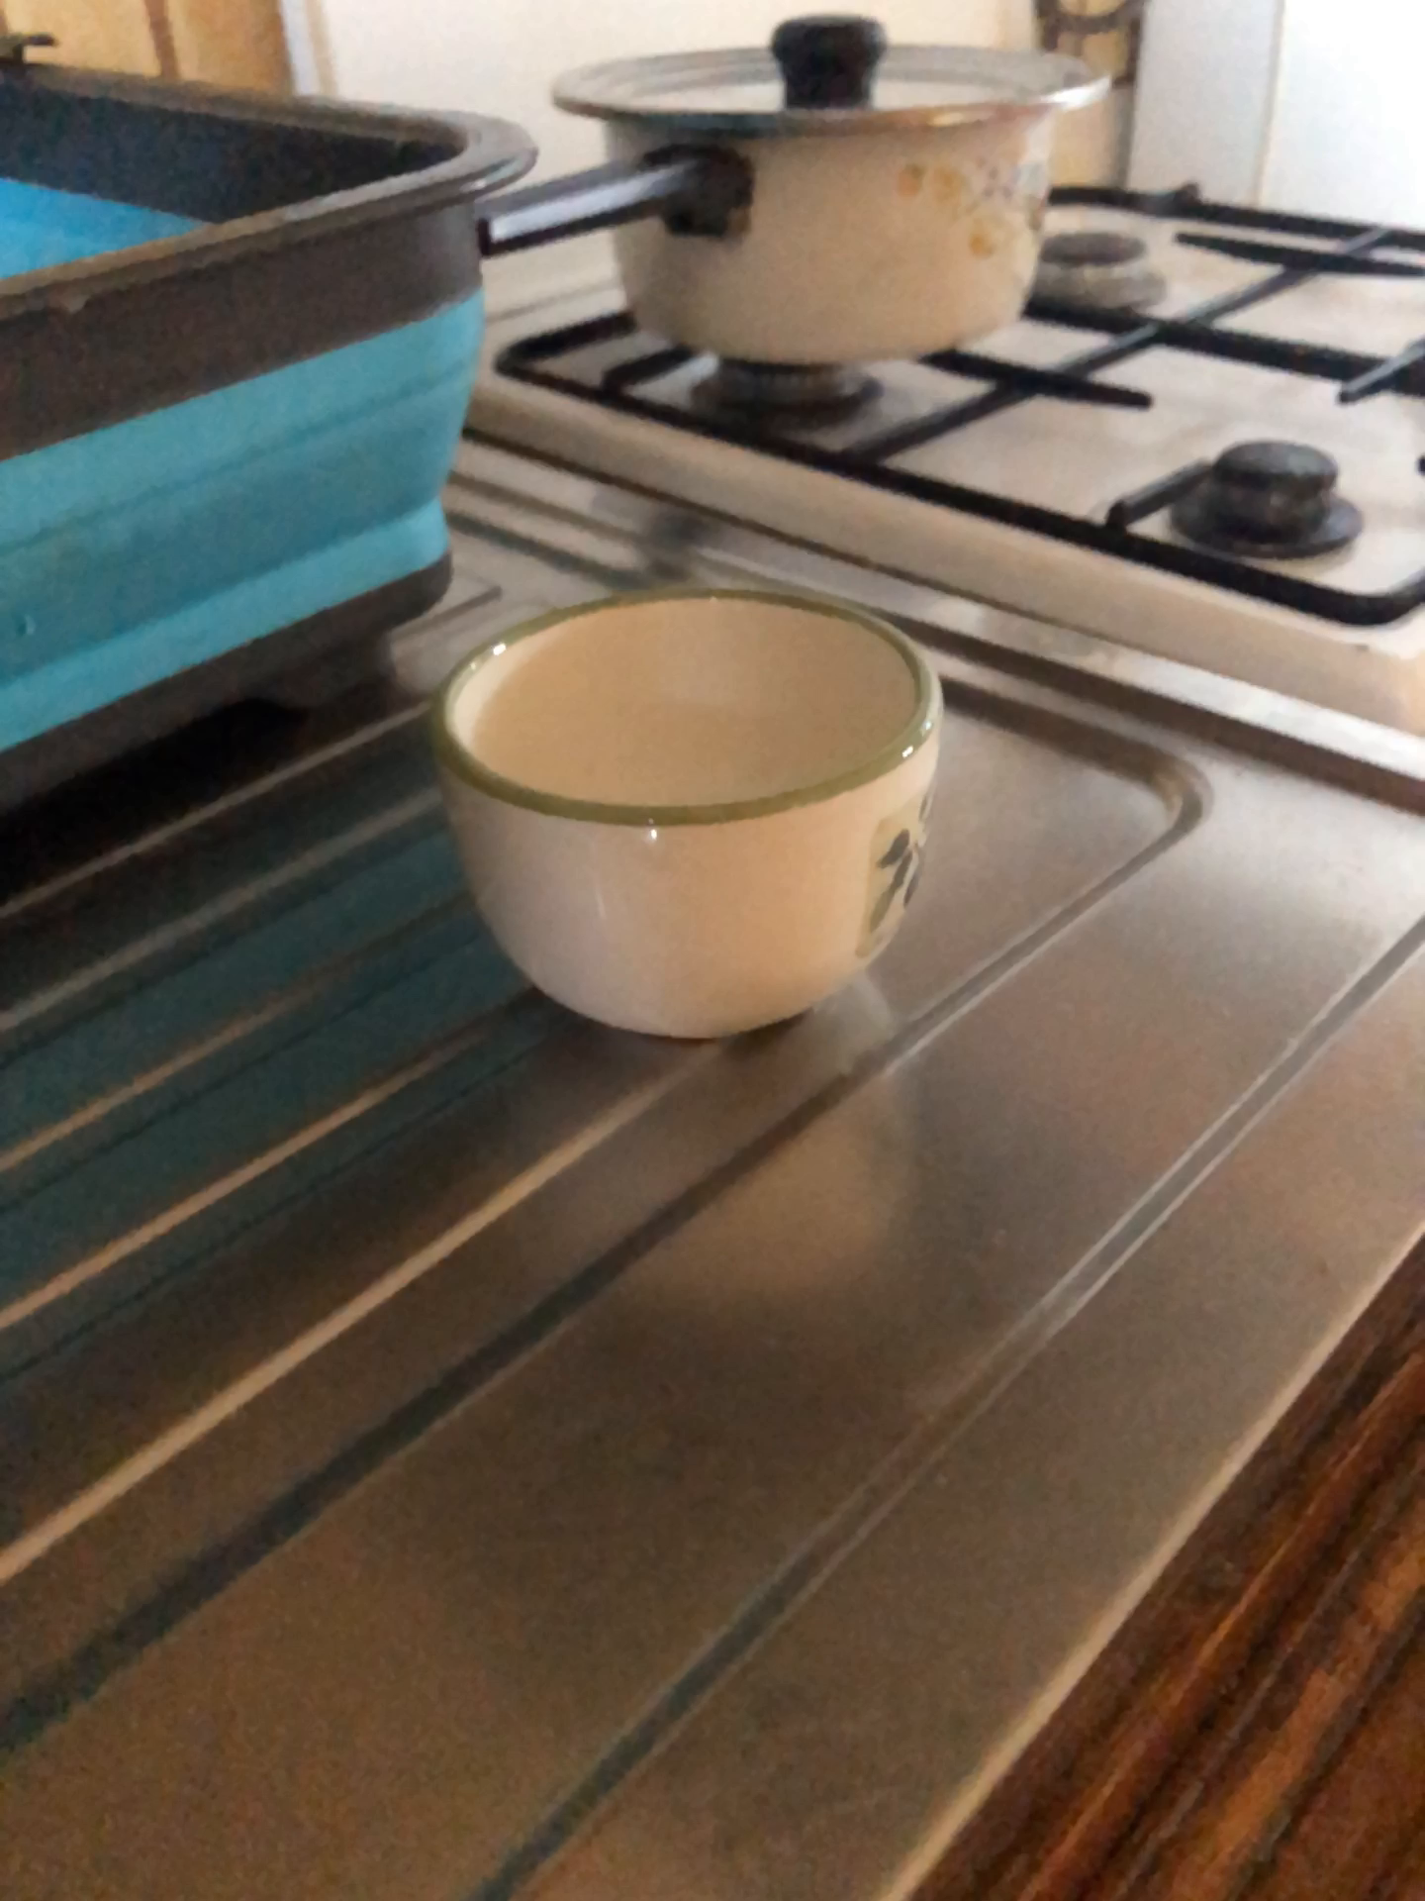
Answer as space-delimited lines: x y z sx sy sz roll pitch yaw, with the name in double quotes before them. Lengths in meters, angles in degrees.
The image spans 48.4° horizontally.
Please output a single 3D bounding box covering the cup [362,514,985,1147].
"cup" -0.010 -0.028 0.290 0.090 0.060 0.111 -5 36 -4
